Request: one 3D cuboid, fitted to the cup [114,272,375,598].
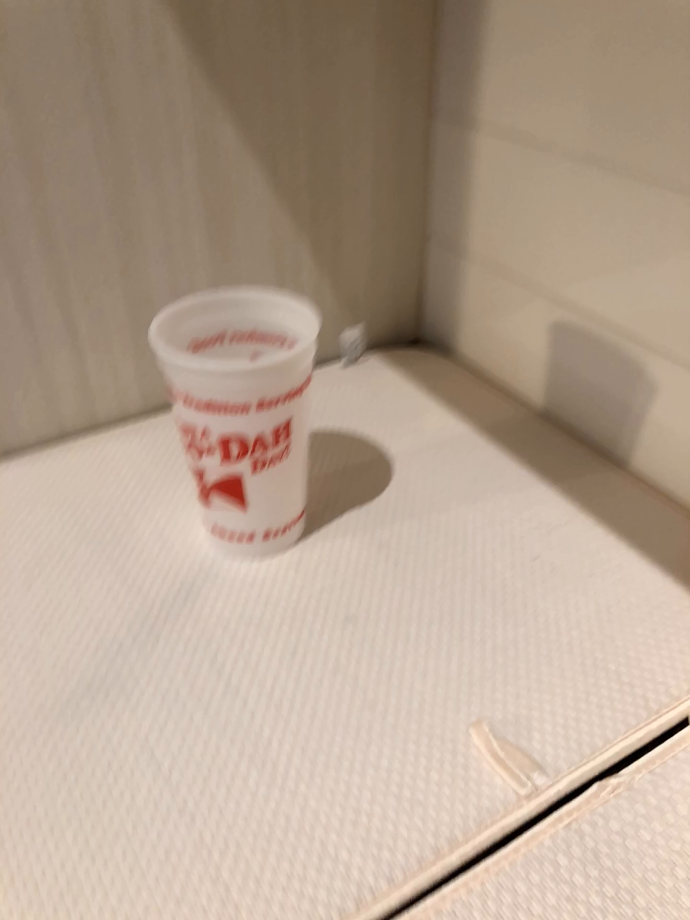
[{"bbox_3d":[-0.051,-0.018,0.452,0.100,0.139,0.100,0,36,0],"label":"cup"}]
